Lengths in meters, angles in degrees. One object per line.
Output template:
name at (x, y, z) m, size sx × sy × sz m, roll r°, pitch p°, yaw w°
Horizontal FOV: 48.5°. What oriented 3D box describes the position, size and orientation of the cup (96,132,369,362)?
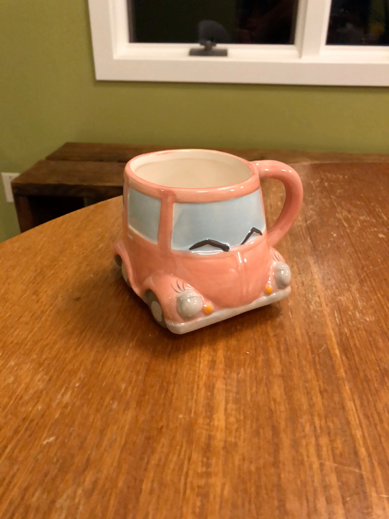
cup at (0.020, -0.024, 0.318) m, size 0.139 × 0.097 × 0.128 m, roll 0°, pitch 29°, yaw 0°
